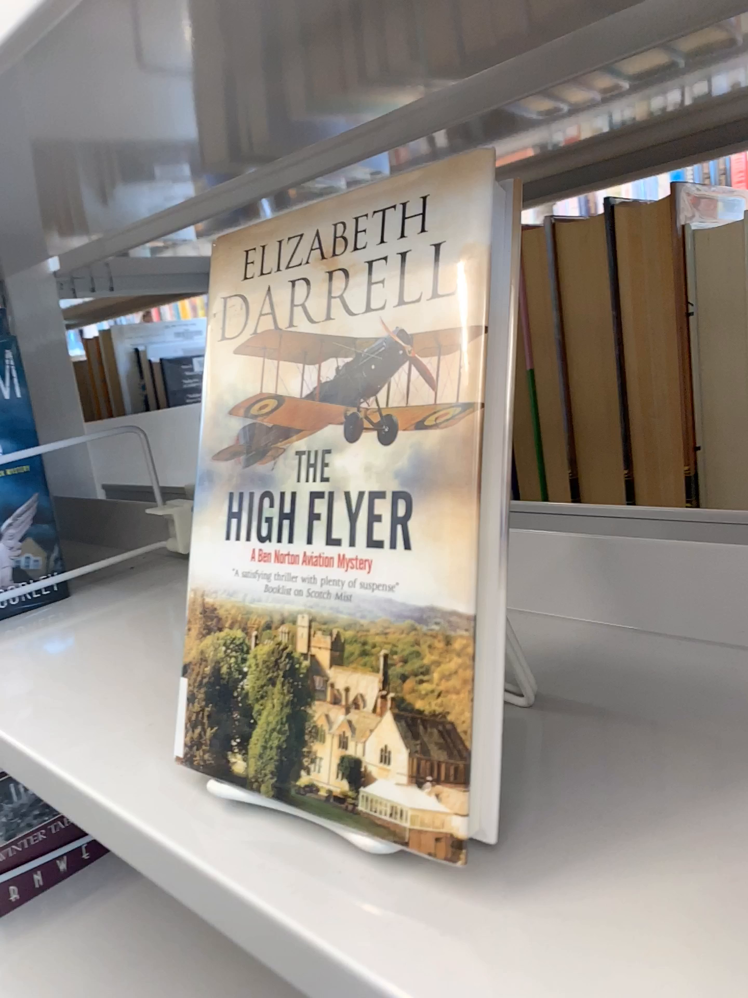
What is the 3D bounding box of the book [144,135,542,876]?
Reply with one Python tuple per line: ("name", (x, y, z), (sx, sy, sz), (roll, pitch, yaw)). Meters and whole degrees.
("book", (-0.019, -0.001, 0.282), (0.151, 0.215, 0.031), (0, -4, 38))
